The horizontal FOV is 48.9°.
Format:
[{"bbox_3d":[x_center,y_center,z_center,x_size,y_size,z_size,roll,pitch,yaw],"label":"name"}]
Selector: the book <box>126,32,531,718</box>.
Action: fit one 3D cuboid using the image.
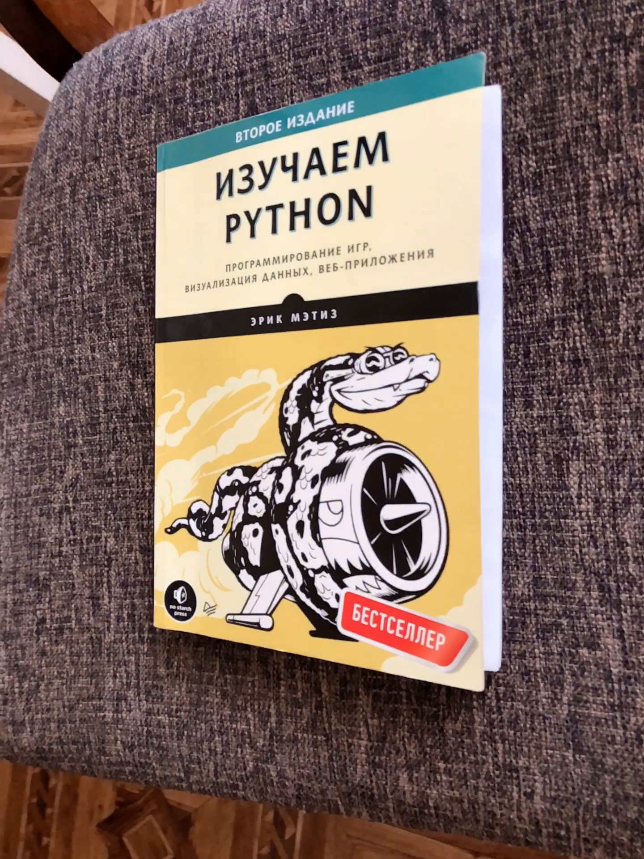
[{"bbox_3d":[-0.003,-0.021,0.300,0.168,0.040,0.233,0,87,31],"label":"book"}]
